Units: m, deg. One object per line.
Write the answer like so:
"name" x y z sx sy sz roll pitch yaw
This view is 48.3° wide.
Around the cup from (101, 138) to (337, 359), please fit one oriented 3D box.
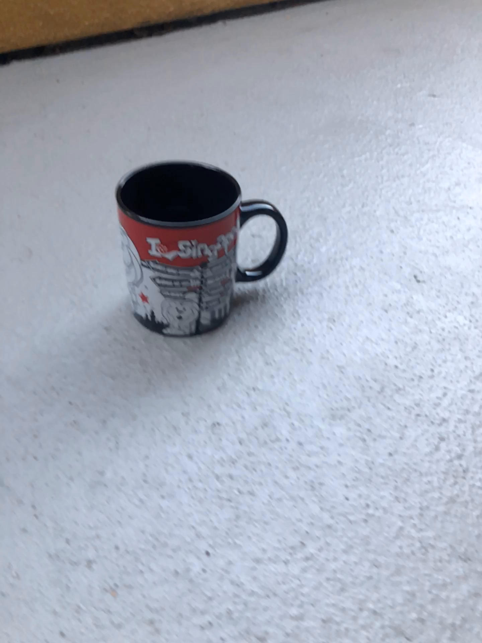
"cup" -0.020 -0.052 0.373 0.130 0.109 0.080 -10 46 -16
